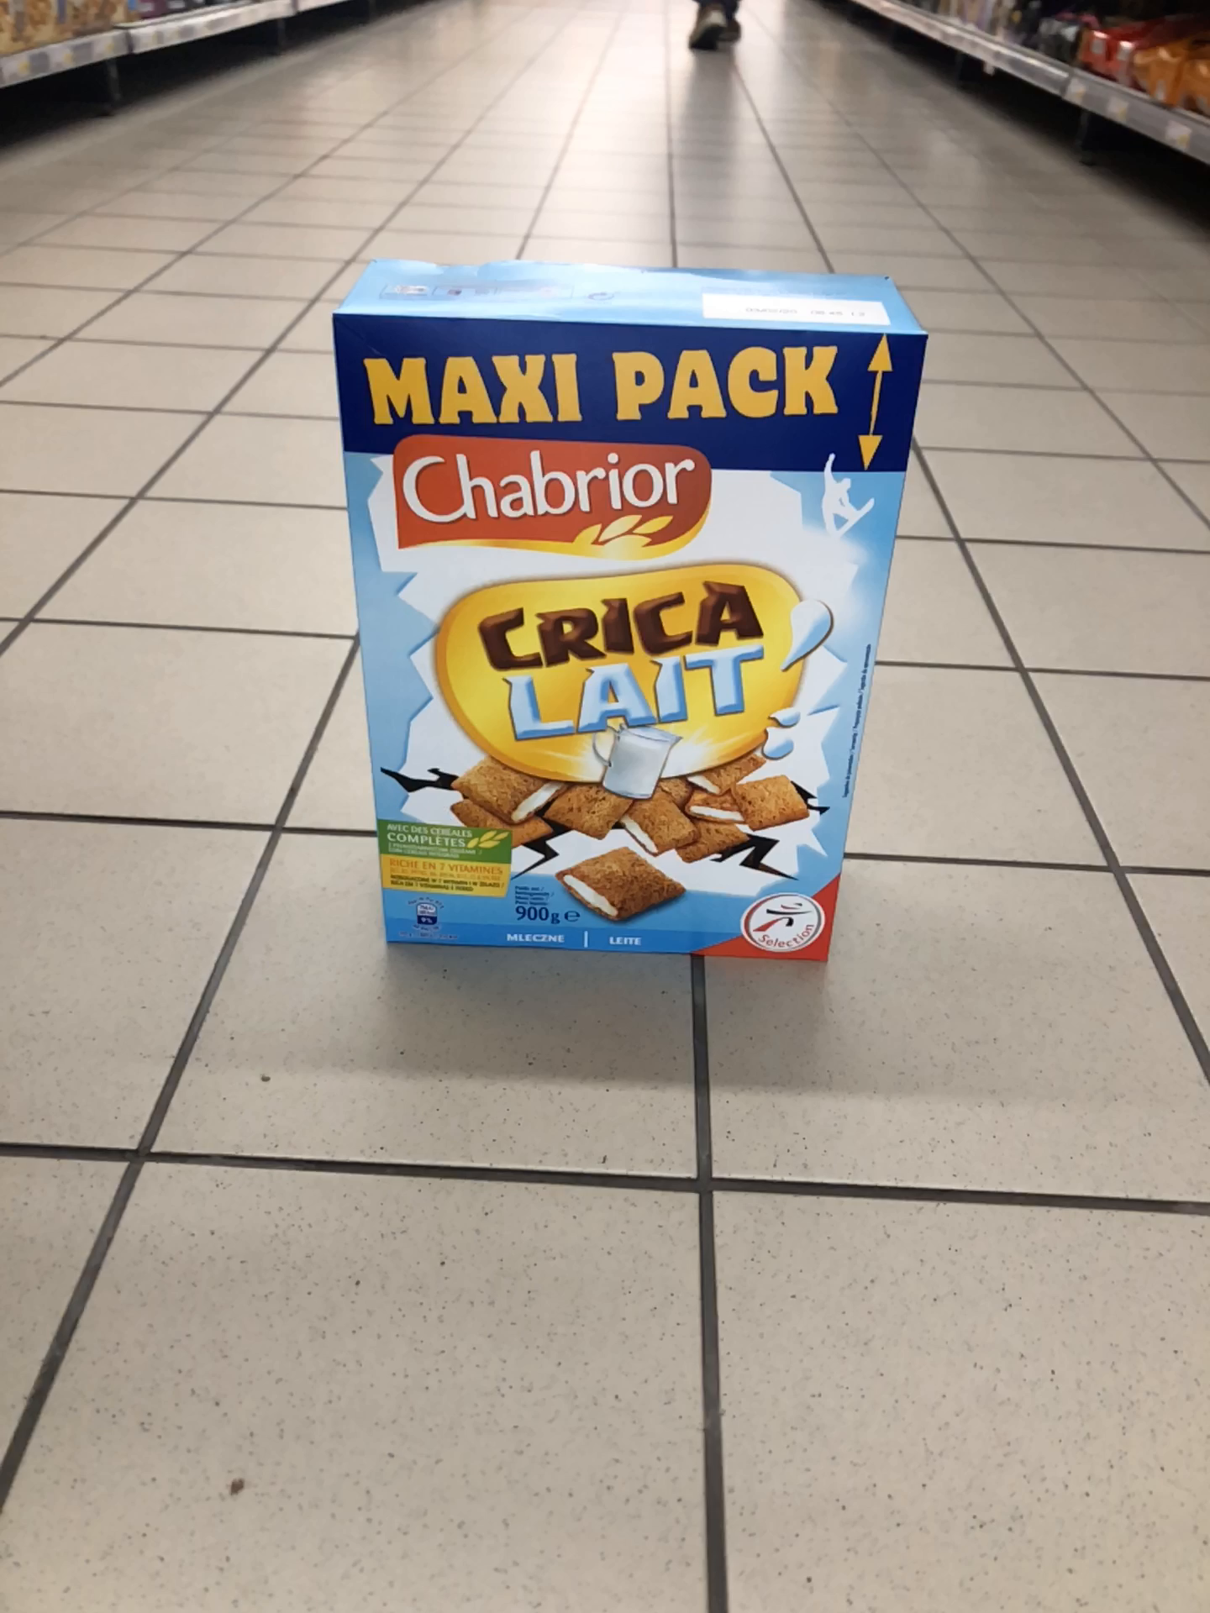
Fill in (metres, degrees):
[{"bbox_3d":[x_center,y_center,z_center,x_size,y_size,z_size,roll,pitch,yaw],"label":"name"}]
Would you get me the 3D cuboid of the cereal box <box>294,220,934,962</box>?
[{"bbox_3d":[0.002,-0.076,0.527,0.200,0.268,0.091,2,33,2],"label":"cereal box"}]
